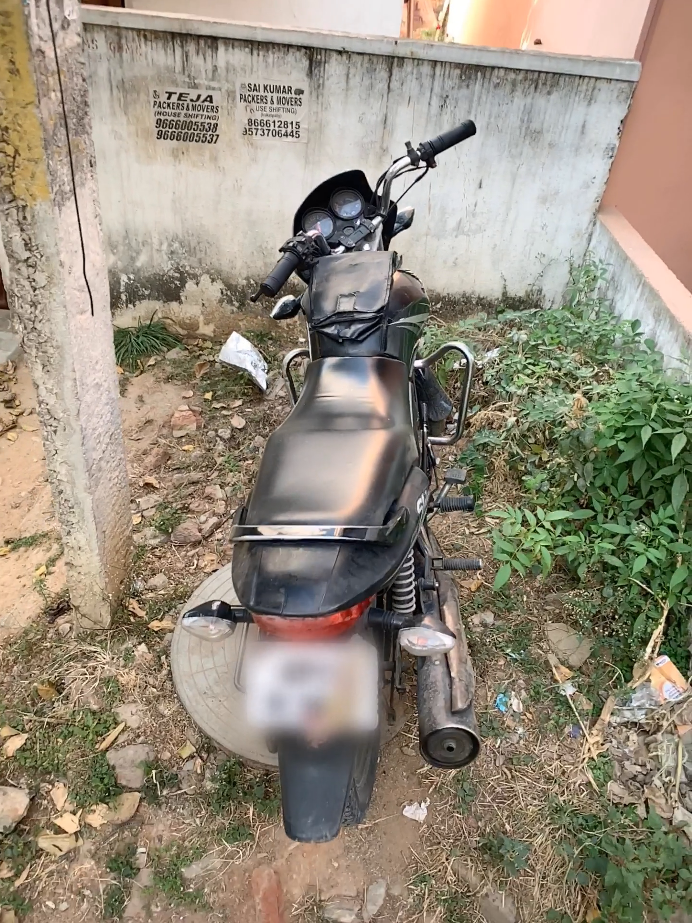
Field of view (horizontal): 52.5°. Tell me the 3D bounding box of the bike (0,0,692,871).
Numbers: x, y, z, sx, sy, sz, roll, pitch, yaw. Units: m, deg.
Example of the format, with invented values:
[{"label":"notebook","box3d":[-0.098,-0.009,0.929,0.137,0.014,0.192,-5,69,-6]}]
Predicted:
[{"label":"bike","box3d":[-0.009,-0.155,1.428,0.734,1.102,1.245,6,46,-2]}]
